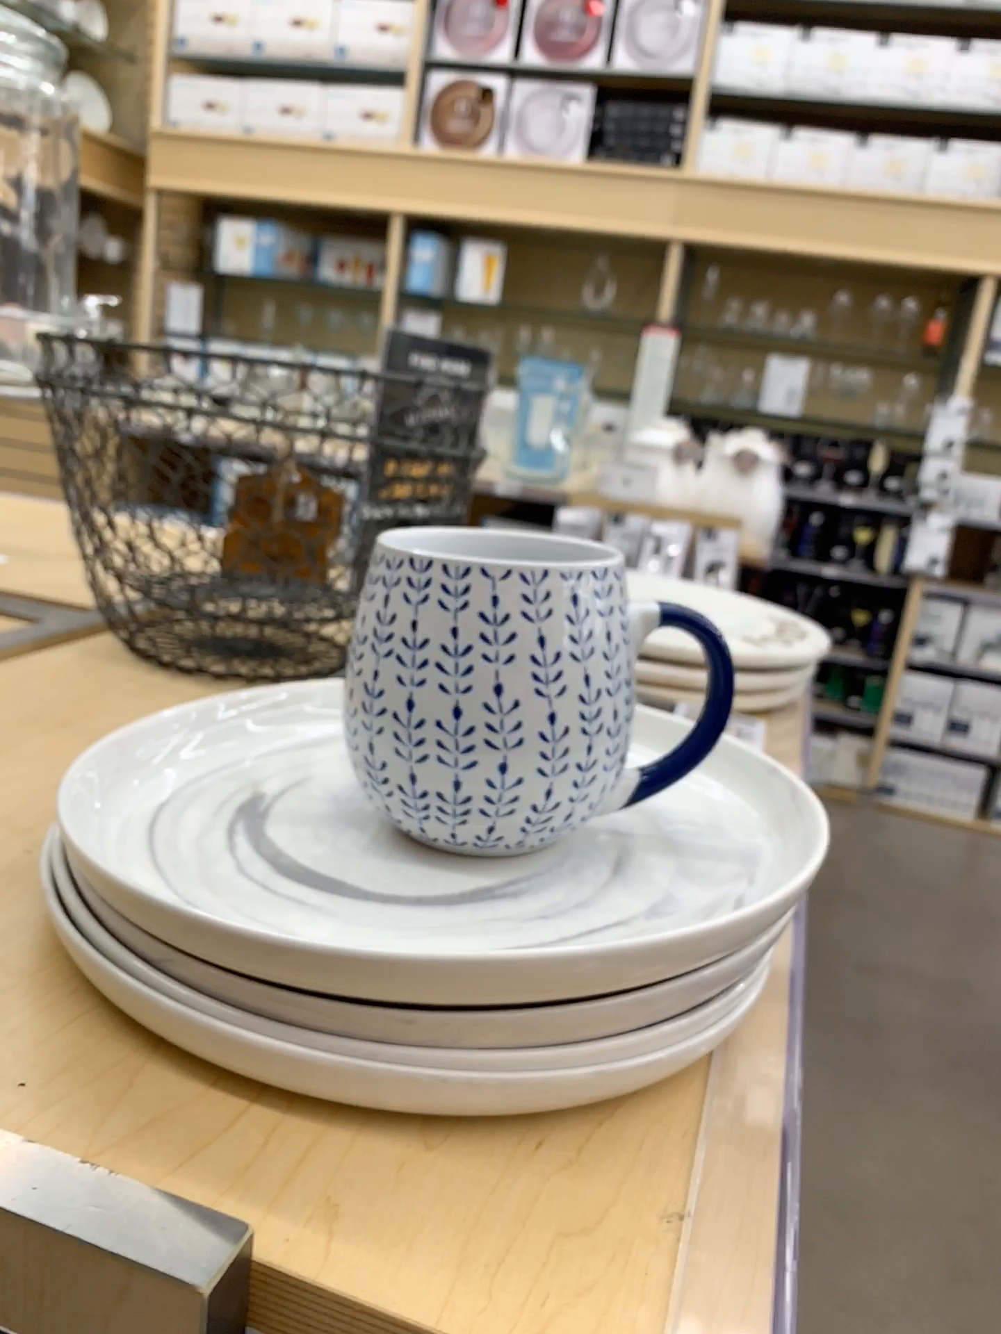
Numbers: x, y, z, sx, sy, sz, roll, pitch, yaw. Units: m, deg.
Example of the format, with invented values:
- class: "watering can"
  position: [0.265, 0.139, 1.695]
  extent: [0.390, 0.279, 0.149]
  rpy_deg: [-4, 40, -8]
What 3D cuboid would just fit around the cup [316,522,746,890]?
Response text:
- class: "cup"
  position: [0.006, 0.008, 0.383]
  extent: [0.128, 0.097, 0.104]
  rpy_deg: [5, 15, -3]
